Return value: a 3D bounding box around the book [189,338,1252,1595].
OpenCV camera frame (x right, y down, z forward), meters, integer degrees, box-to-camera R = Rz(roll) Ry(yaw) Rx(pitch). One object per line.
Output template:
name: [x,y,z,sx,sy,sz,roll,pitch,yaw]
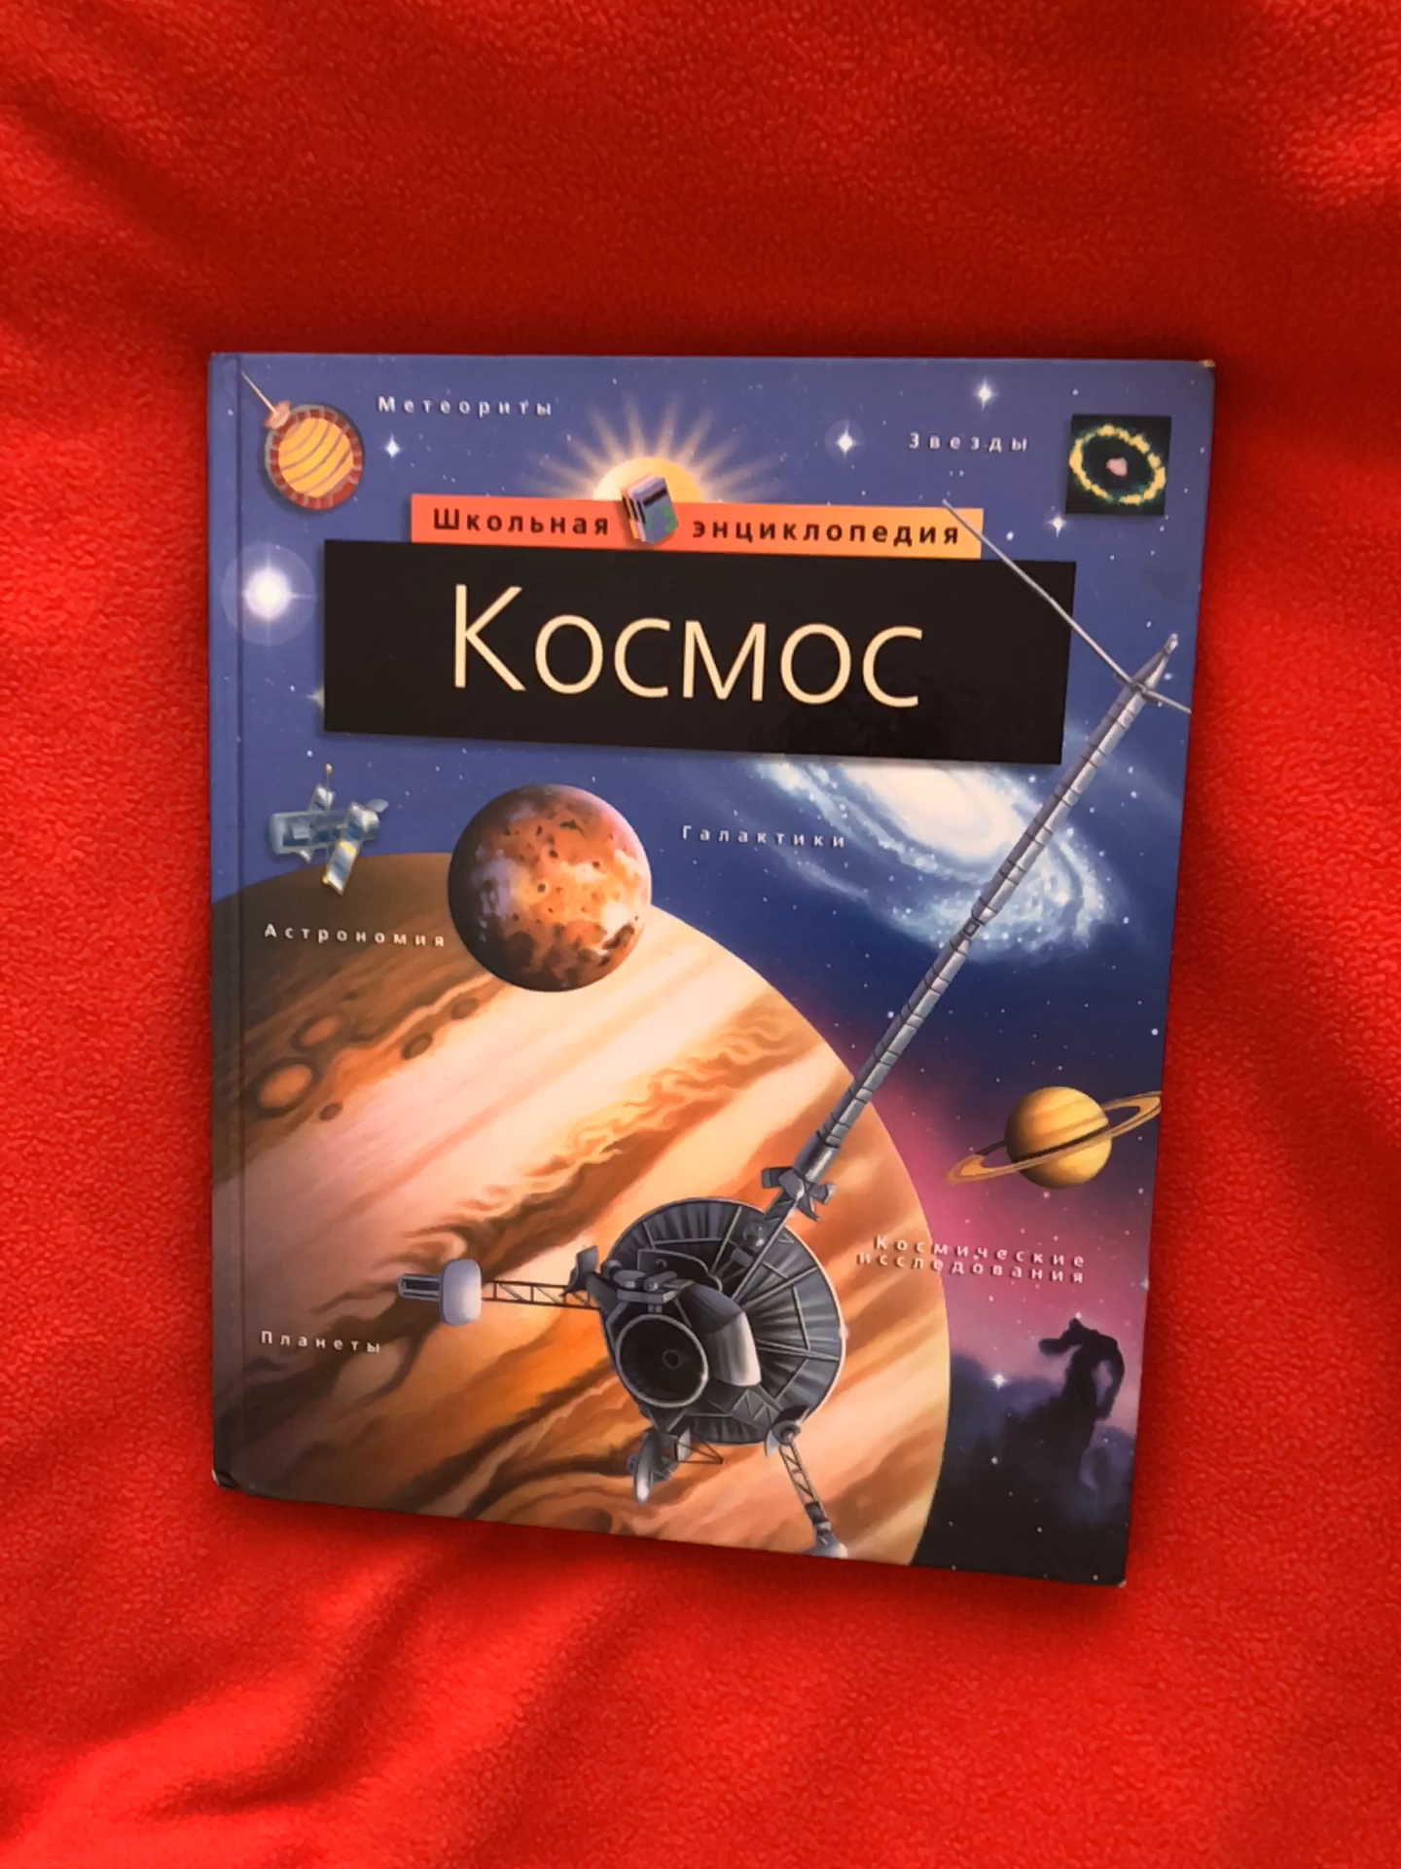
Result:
book: [-0.003,0.008,0.375,0.235,0.030,0.284,3,99,7]
